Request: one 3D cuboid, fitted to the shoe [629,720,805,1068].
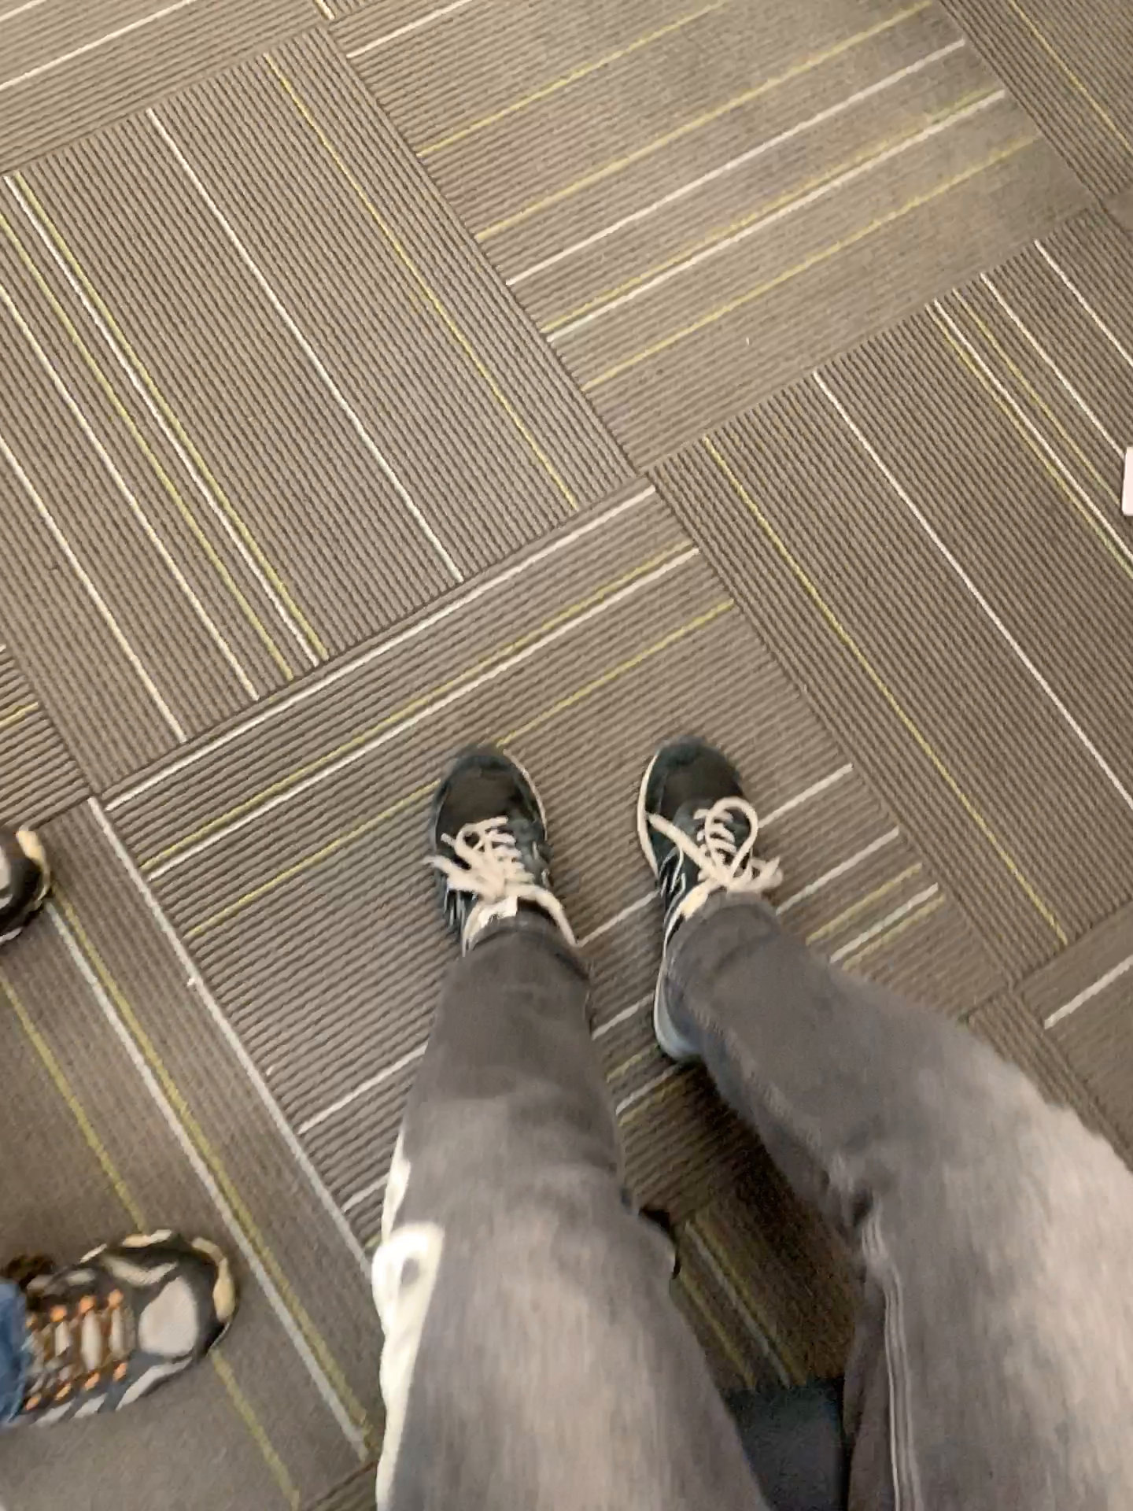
[{"bbox_3d":[0.130,0.122,1.033,0.119,0.071,0.294,-3,78,-5],"label":"shoe"}]

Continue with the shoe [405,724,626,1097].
[{"bbox_3d":[-0.048,0.134,1.018,0.121,0.071,0.295,-13,79,-7],"label":"shoe"}]
